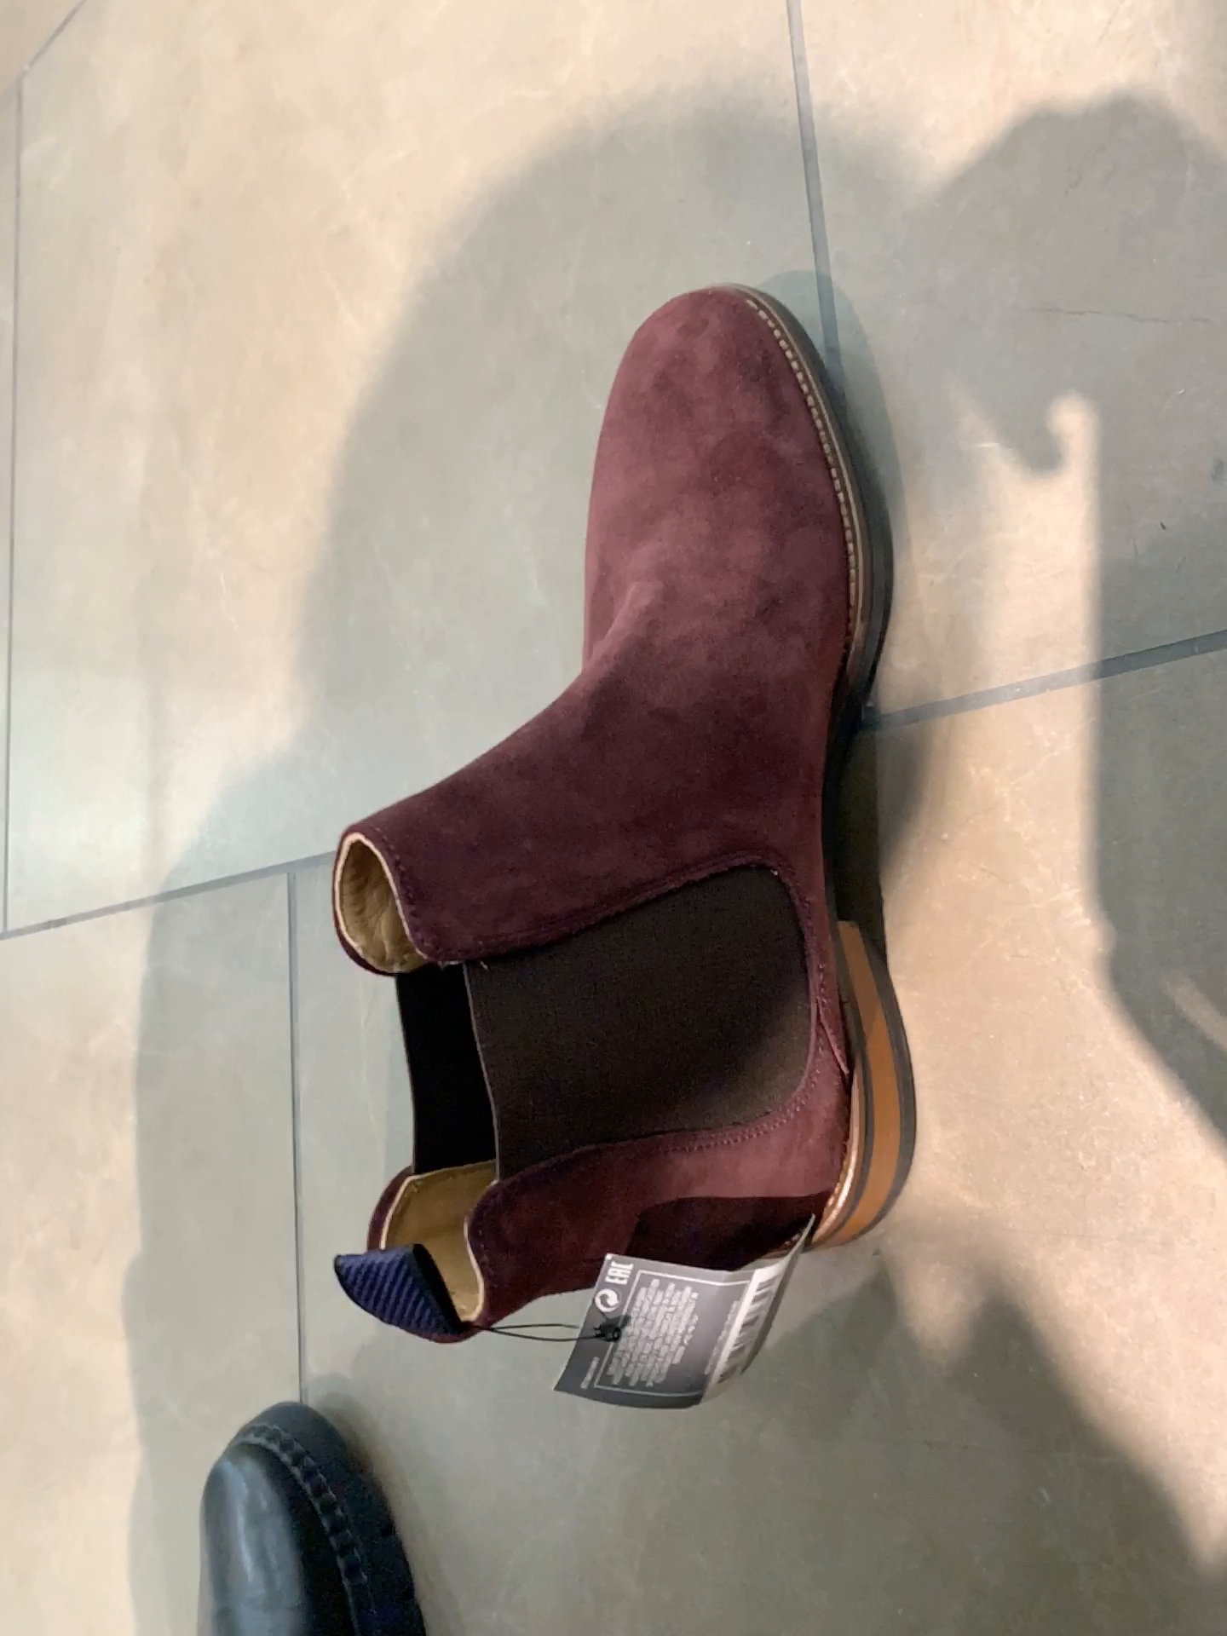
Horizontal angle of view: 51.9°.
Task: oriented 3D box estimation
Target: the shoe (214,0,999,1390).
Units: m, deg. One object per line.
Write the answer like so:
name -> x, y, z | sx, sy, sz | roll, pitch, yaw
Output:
shoe -> -0.004, -0.025, 0.352 | 0.114, 0.161, 0.298 | -15, 75, 40
